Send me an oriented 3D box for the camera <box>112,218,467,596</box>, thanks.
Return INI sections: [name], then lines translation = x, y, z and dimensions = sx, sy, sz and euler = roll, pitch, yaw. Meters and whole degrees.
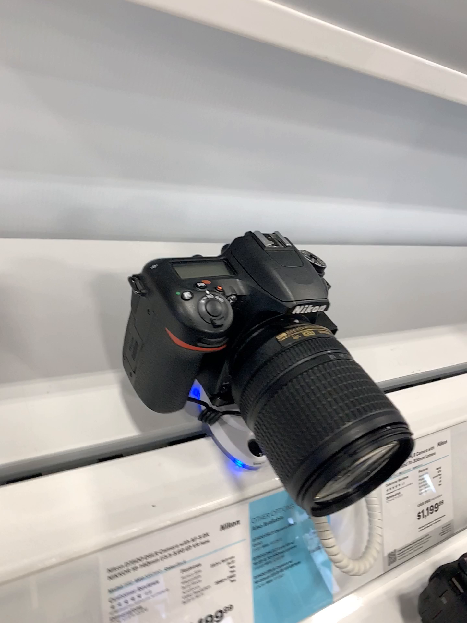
[camera]
translation = 0.028, 0.033, 0.289
dimensions = 0.131, 0.107, 0.173
euler = -7, 41, -35
